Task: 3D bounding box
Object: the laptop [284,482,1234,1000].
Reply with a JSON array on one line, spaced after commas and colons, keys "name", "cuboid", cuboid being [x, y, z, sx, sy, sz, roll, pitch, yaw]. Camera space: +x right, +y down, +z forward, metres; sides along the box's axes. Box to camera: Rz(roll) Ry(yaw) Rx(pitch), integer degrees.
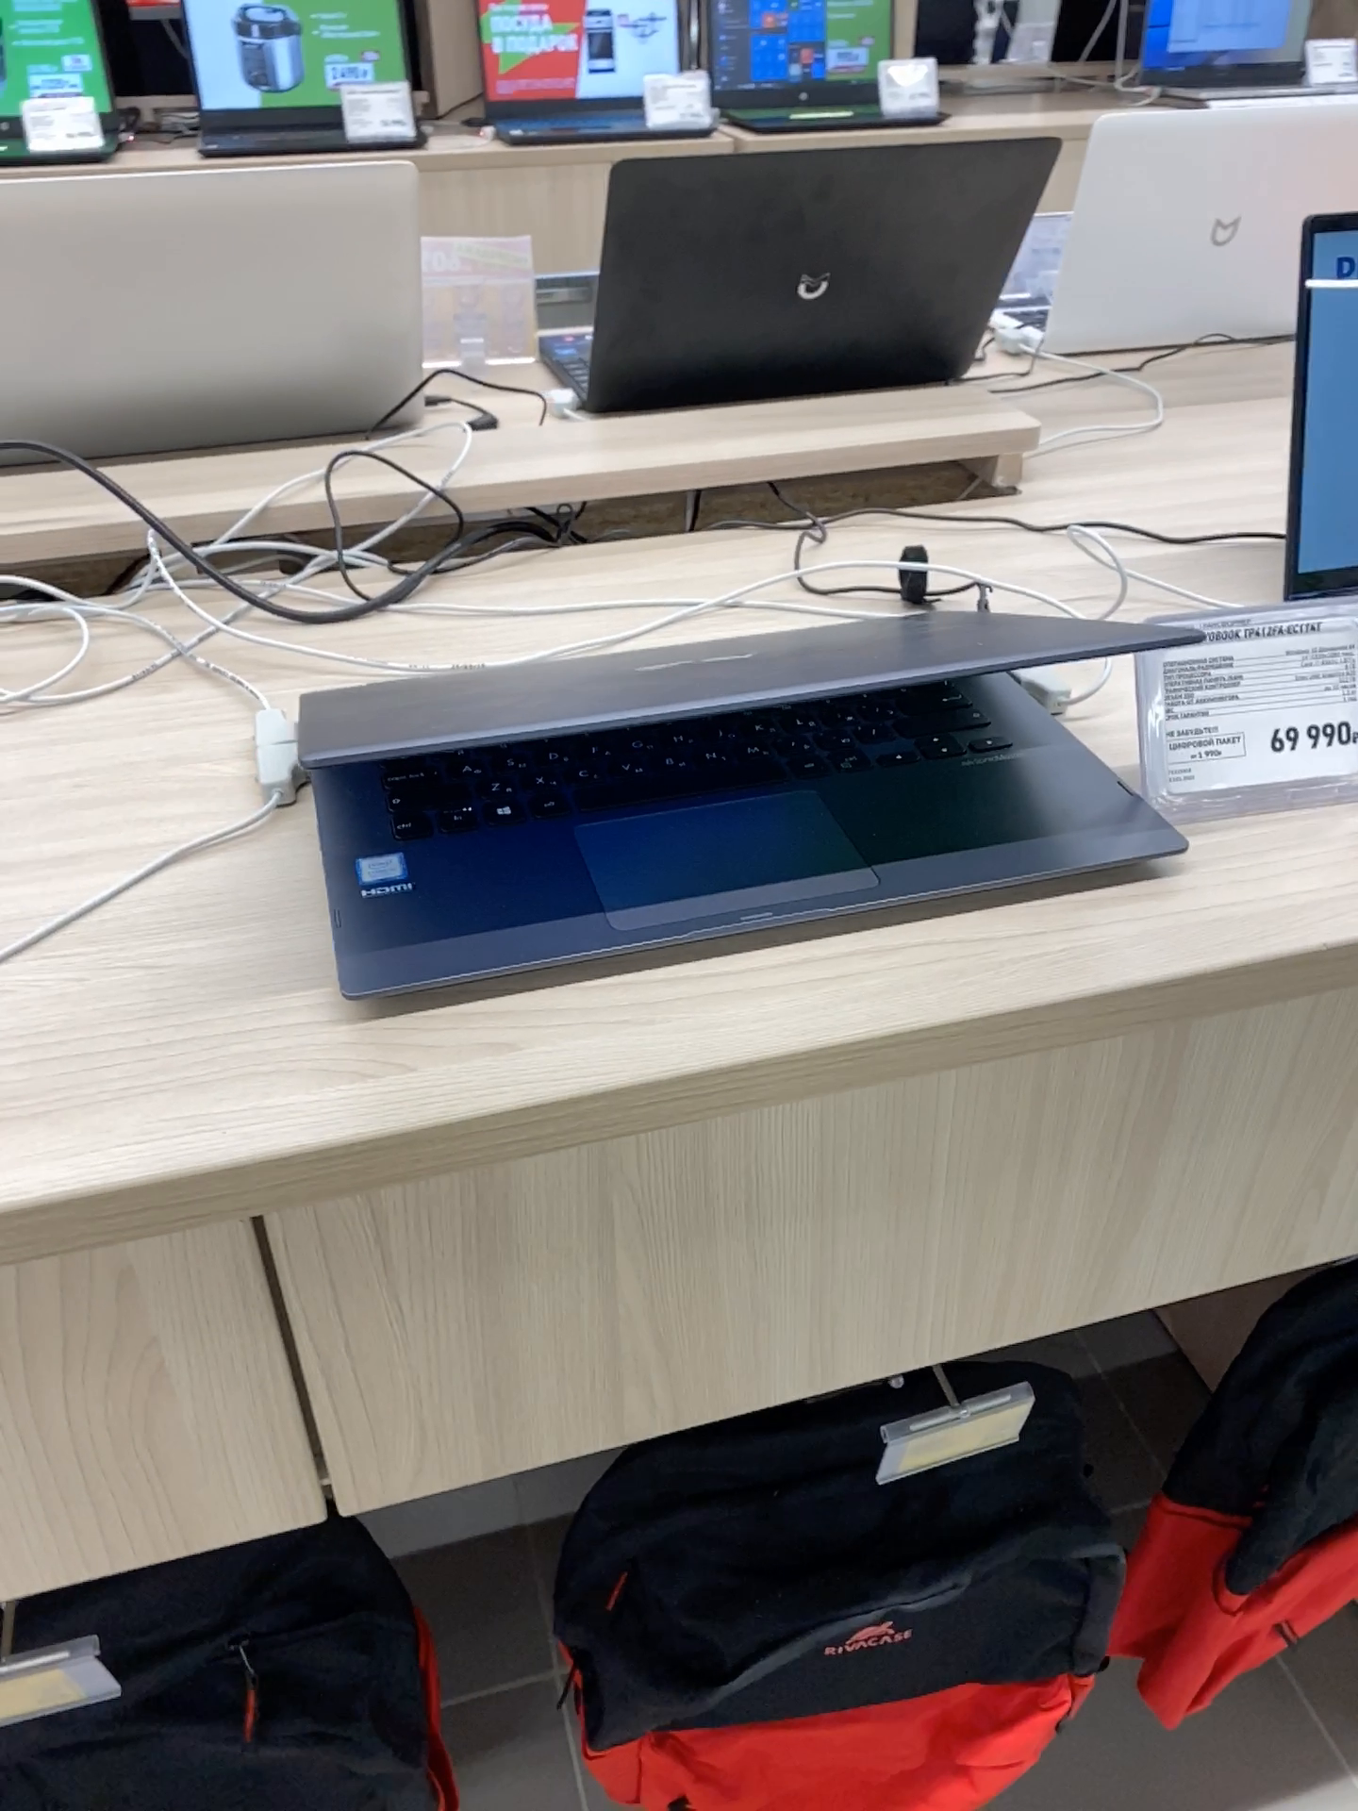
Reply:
[{"name": "laptop", "cuboid": [0.015, -0.089, 0.580, 0.330, 0.079, 0.226, -10, 35, -14]}]
